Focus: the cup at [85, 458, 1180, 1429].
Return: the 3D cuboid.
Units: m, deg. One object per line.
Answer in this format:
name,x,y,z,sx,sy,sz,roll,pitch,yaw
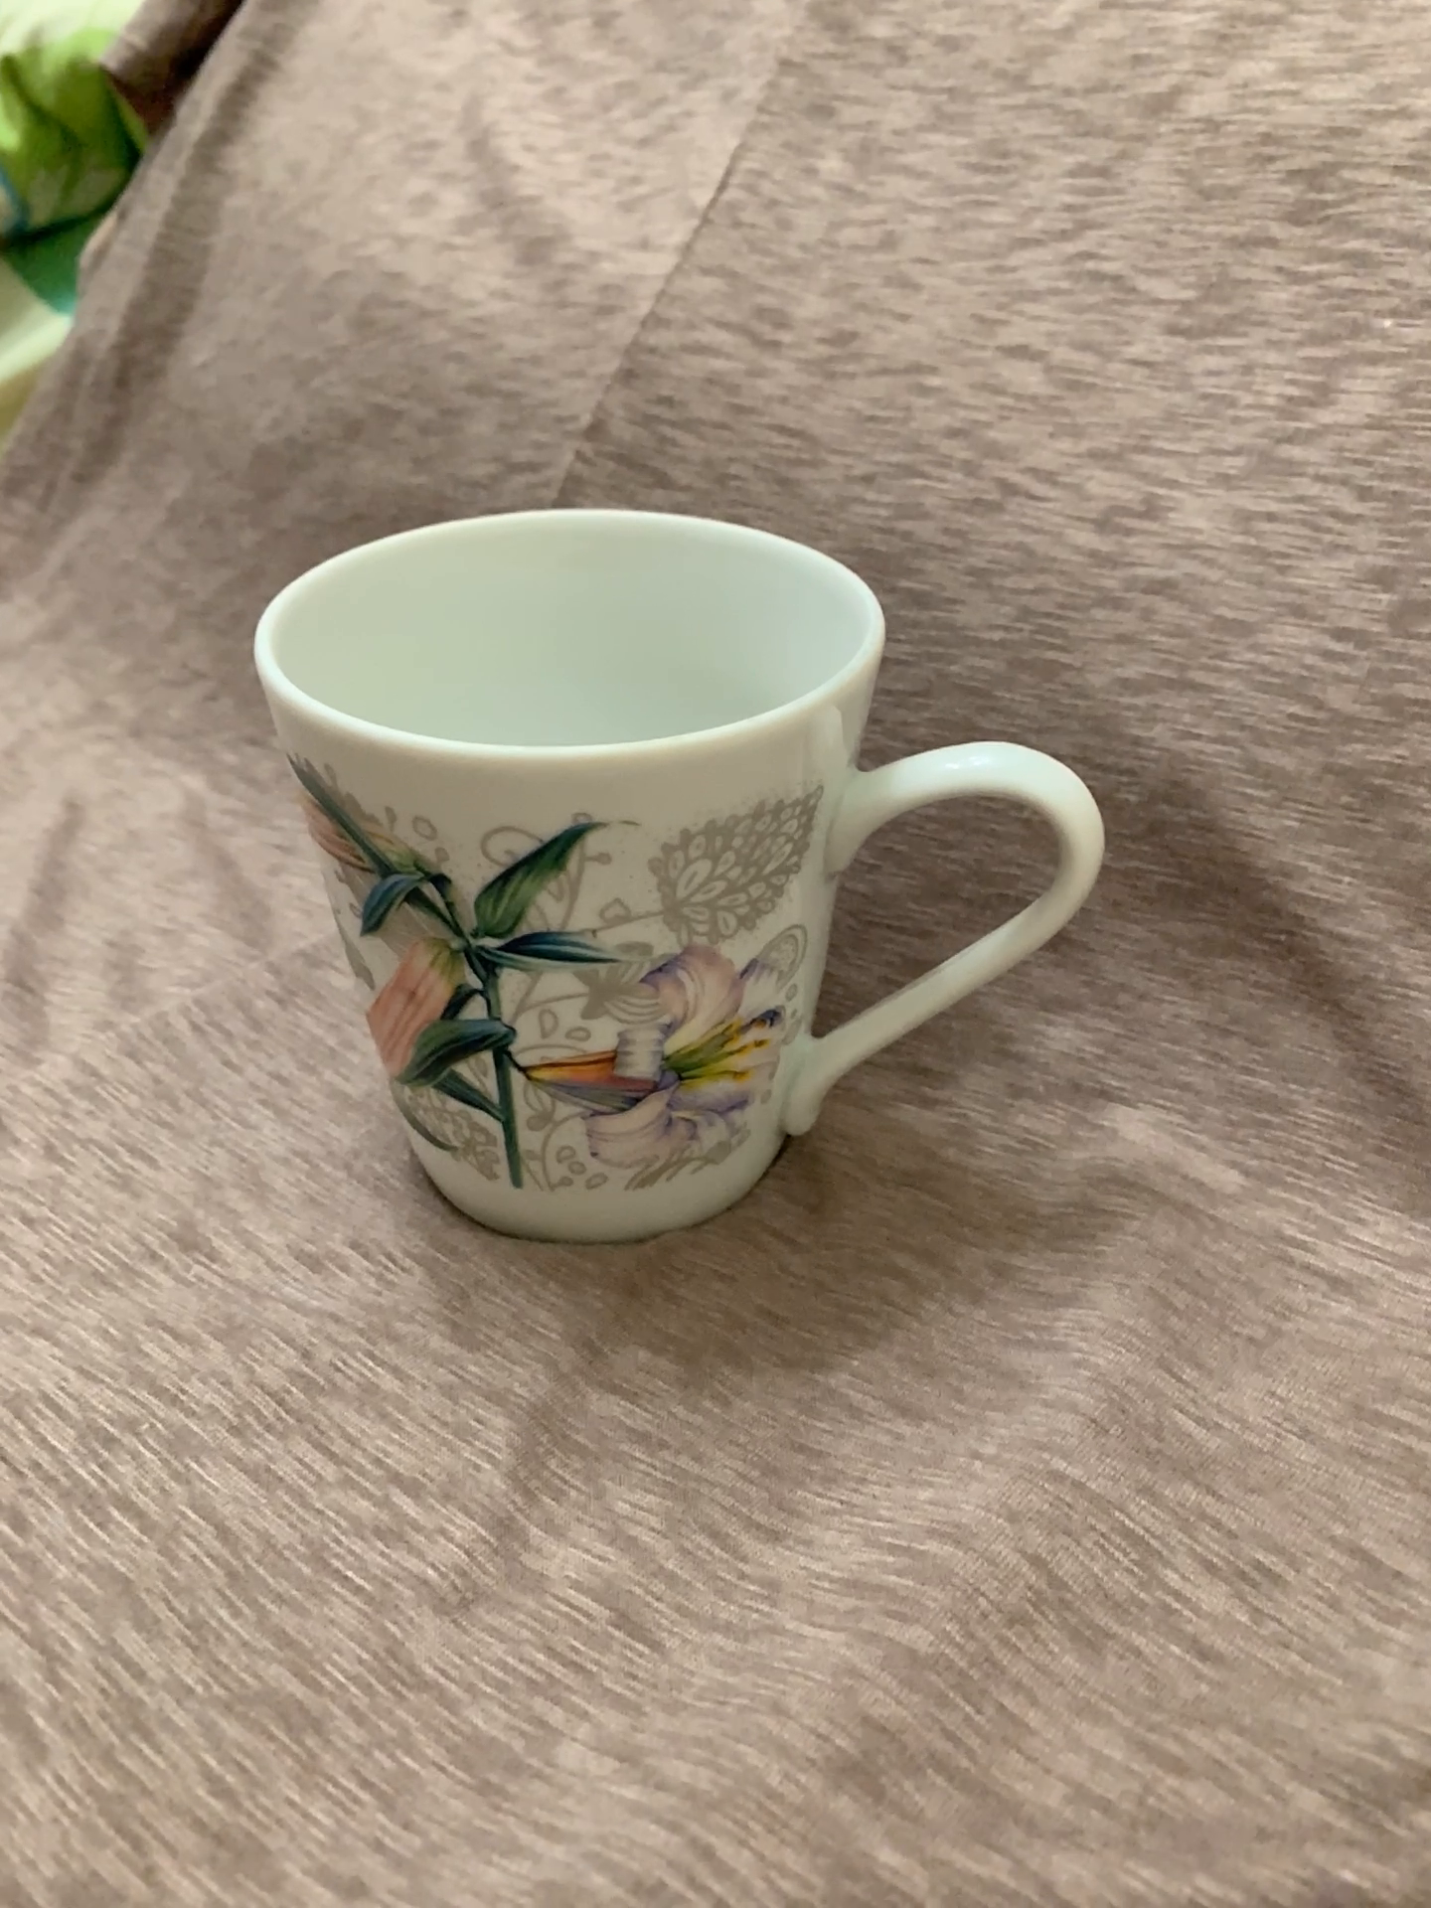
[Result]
cup,-0.008,-0.013,0.222,0.119,0.088,0.084,16,37,28
